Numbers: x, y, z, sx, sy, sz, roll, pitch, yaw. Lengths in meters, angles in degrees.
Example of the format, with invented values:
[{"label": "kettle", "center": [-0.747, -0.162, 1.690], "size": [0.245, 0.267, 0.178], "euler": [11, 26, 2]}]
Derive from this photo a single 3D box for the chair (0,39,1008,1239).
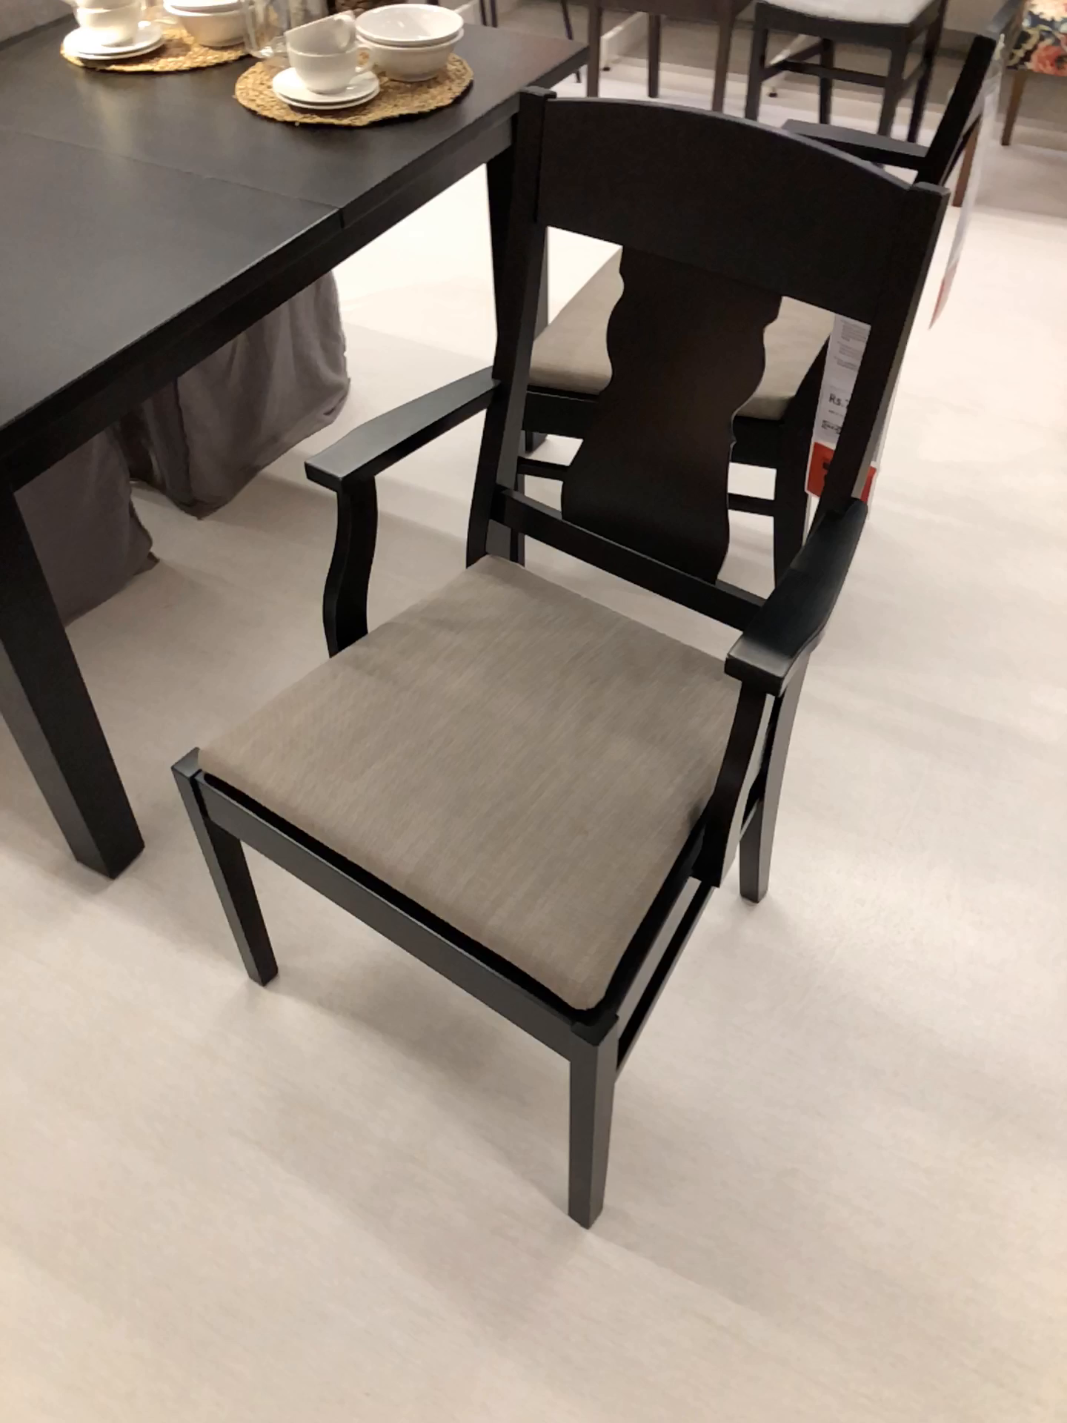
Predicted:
[{"label": "chair", "center": [-0.014, -0.036, 1.242], "size": [0.571, 0.994, 0.572], "euler": [27, 53, 25]}]
